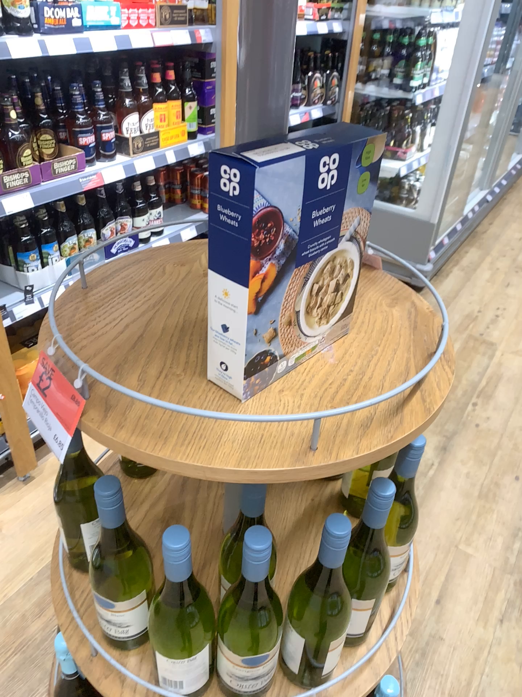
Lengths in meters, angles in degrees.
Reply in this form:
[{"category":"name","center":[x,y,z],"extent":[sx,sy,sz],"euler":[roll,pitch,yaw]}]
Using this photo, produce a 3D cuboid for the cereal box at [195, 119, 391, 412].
[{"category":"cereal box","center":[0.031,-0.086,0.527],"extent":[0.060,0.228,0.201],"euler":[28,41,31]}]
